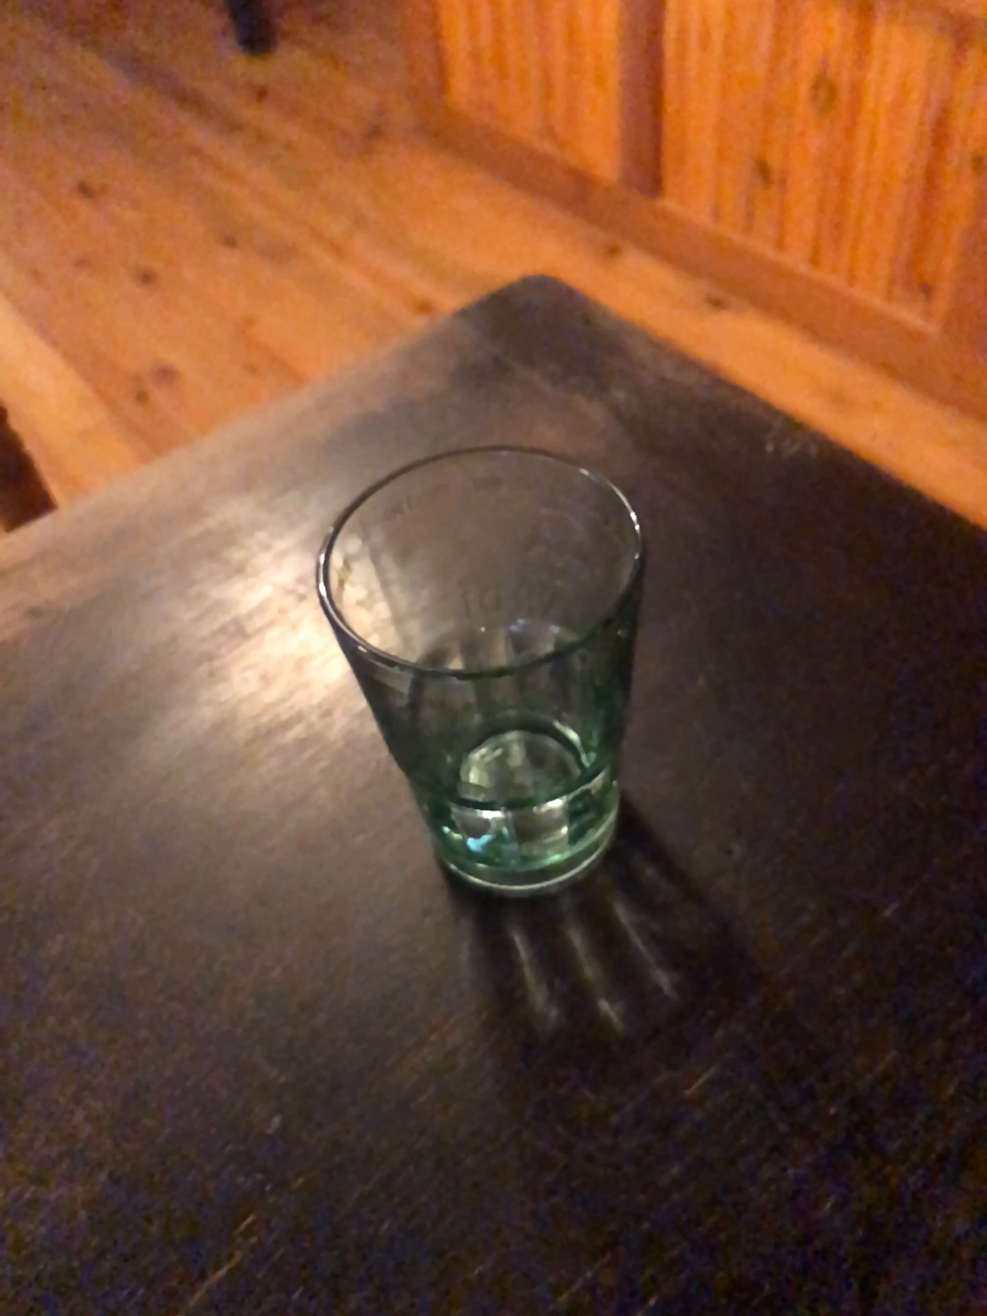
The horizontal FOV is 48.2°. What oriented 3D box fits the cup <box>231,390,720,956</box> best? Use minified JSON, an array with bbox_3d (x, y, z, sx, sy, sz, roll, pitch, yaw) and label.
[{"bbox_3d":[0.000,0.004,0.311,0.083,0.103,0.089,-4,48,4],"label":"cup"}]
